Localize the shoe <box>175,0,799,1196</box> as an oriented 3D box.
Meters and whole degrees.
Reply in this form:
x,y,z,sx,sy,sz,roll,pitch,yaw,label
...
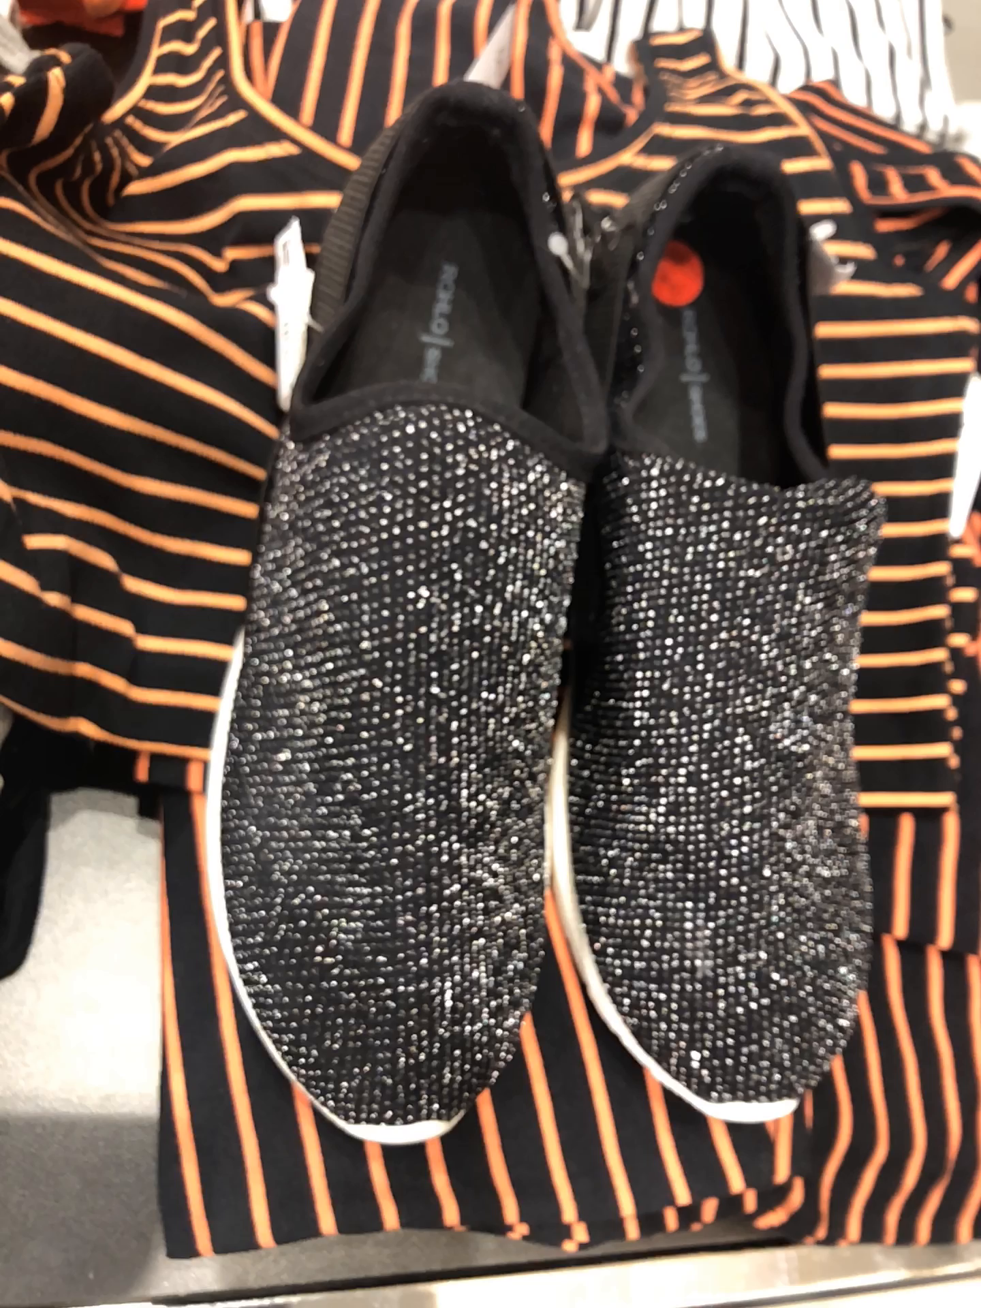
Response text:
x,y,z,sx,sy,sz,roll,pitch,yaw,label
-0.016,-0.013,0.264,0.100,0.110,0.240,3,69,-16,shoe

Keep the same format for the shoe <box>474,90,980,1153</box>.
x,y,z,sx,sy,sz,roll,pitch,yaw,label
0.067,-0.007,0.296,0.100,0.110,0.240,1,69,-16,shoe
